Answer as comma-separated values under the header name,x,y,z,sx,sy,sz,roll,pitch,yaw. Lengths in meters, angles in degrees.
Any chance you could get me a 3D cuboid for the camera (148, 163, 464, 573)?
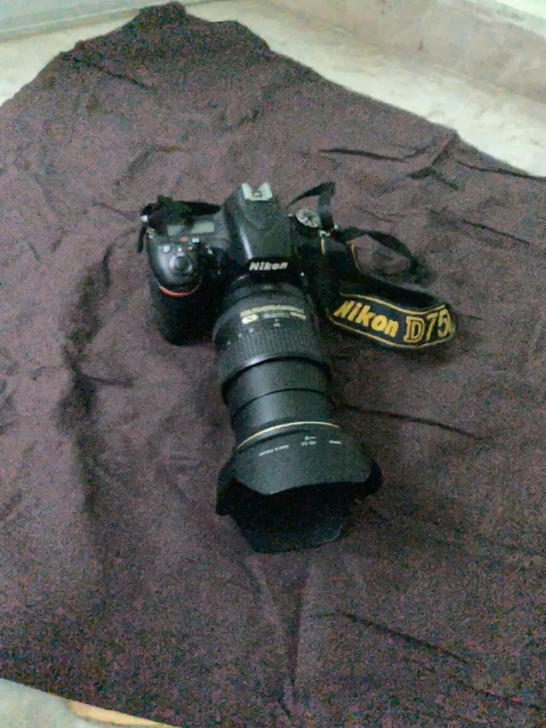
name,x,y,z,sx,sy,sz,roll,pitch,yaw
camera,-0.002,-0.014,0.412,0.161,0.100,0.279,-3,57,-12
